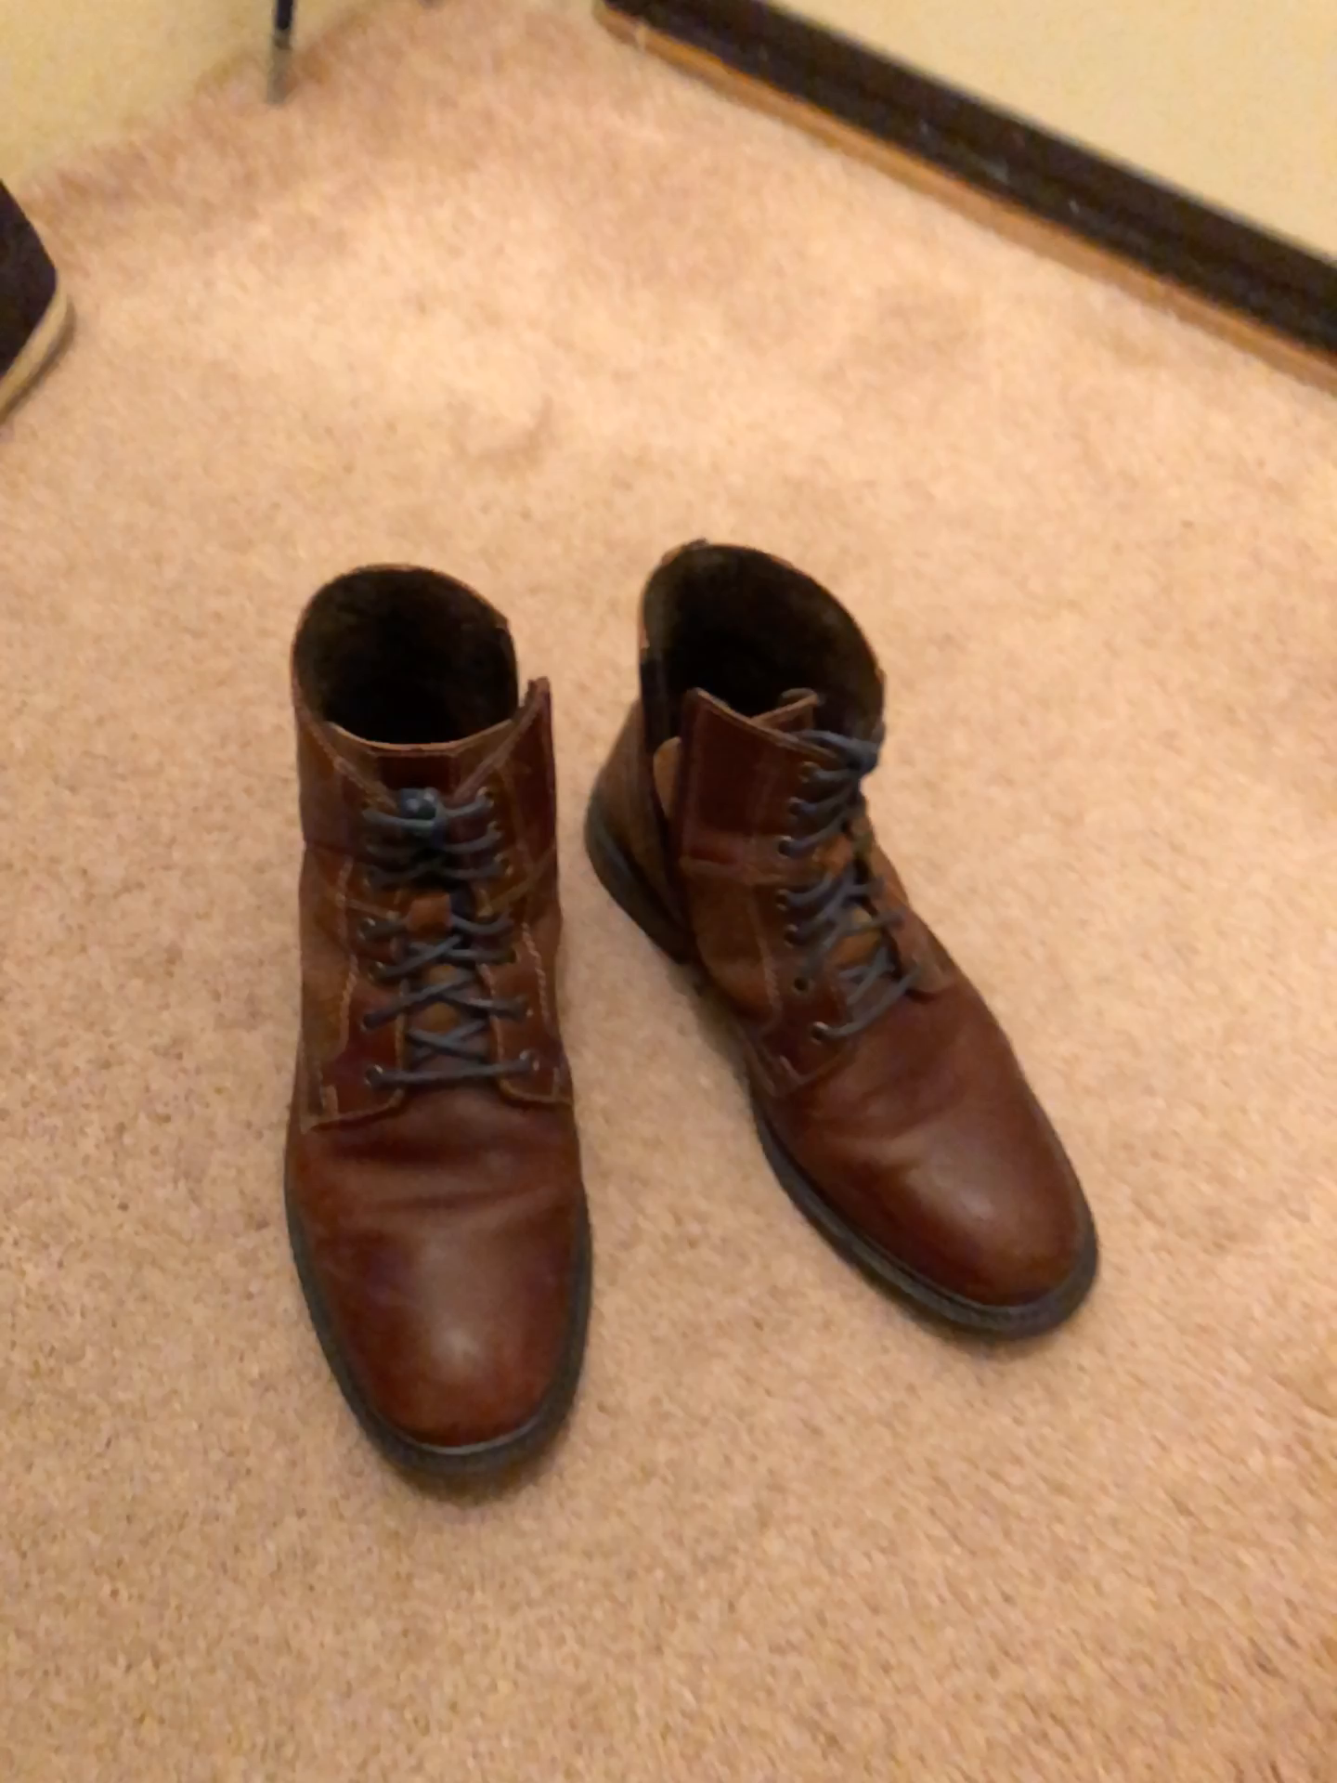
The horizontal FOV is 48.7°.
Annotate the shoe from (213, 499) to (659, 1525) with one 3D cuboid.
[{"bbox_3d":[-0.086,0.037,0.531,0.113,0.172,0.317,-4,58,-8],"label":"shoe"}]

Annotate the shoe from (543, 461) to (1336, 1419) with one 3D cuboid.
[{"bbox_3d":[0.071,0.015,0.560,0.110,0.172,0.302,-23,63,-19],"label":"shoe"}]
